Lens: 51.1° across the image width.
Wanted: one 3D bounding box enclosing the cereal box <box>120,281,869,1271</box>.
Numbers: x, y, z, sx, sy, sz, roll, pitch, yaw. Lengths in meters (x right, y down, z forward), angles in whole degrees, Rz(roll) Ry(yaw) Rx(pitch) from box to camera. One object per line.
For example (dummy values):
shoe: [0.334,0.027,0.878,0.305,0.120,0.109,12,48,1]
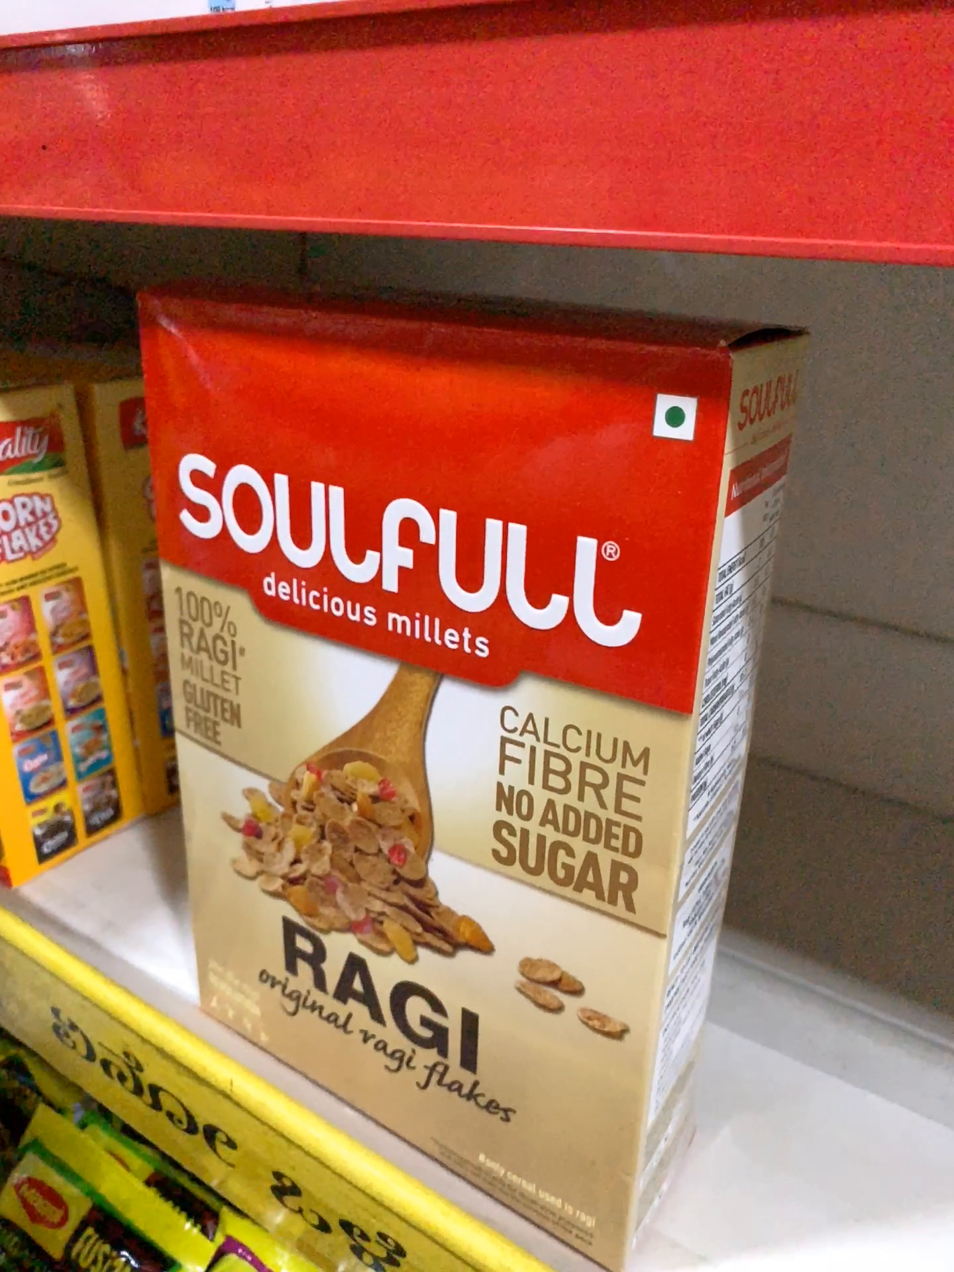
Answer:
cereal box: [-0.008,0.038,0.280,0.170,0.248,0.060,16,25,30]
